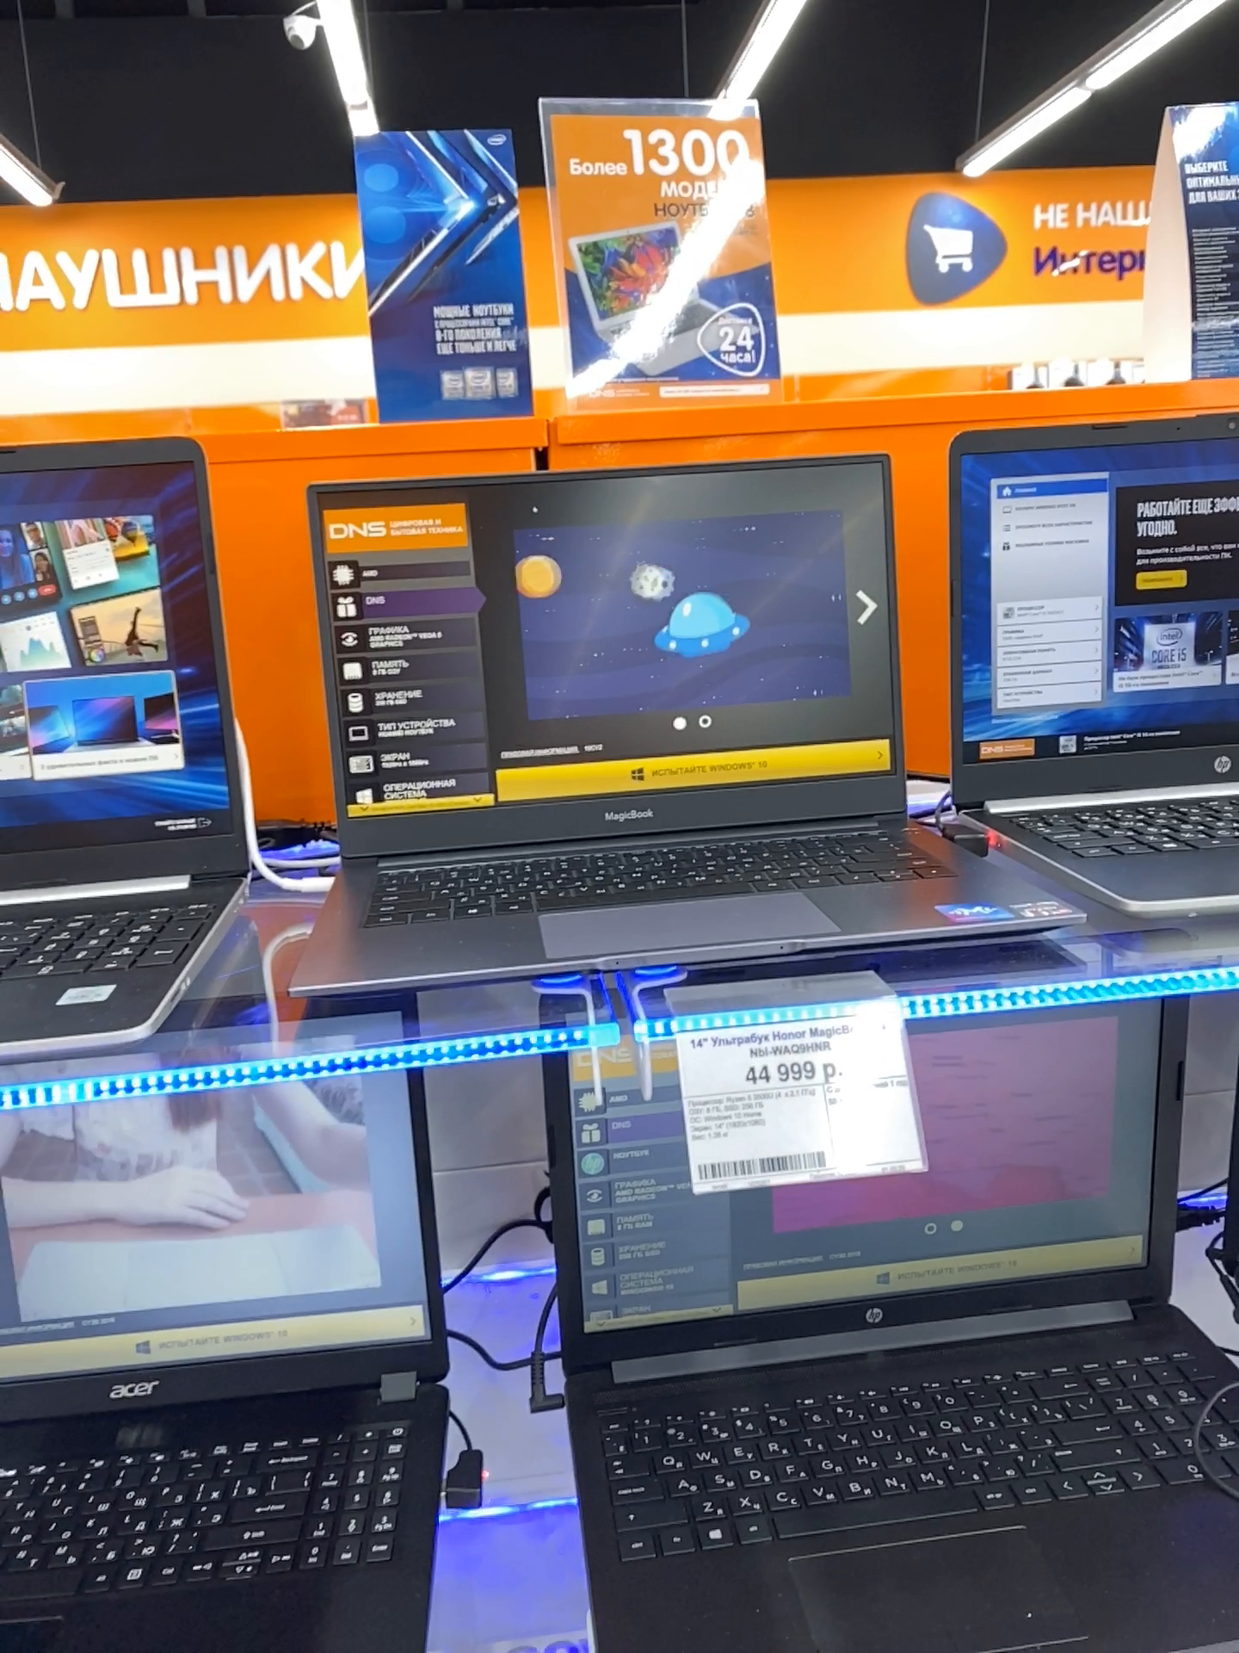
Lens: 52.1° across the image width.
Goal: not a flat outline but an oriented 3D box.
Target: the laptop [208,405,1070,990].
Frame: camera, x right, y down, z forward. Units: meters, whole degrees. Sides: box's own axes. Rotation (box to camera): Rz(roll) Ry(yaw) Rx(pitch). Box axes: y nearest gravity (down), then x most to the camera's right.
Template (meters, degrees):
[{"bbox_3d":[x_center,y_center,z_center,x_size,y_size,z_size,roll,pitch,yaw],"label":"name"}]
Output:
[{"bbox_3d":[0.004,-0.072,0.603,0.323,0.203,0.238,-4,11,-7],"label":"laptop"}]
